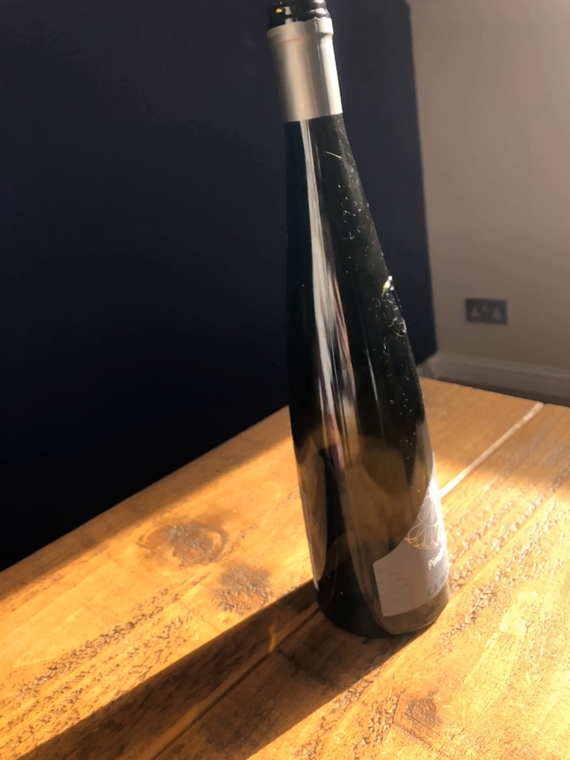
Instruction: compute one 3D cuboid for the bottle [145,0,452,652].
[{"bbox_3d":[0.029,-0.018,0.364,0.100,0.338,0.101,-9,22,4],"label":"bottle"}]
